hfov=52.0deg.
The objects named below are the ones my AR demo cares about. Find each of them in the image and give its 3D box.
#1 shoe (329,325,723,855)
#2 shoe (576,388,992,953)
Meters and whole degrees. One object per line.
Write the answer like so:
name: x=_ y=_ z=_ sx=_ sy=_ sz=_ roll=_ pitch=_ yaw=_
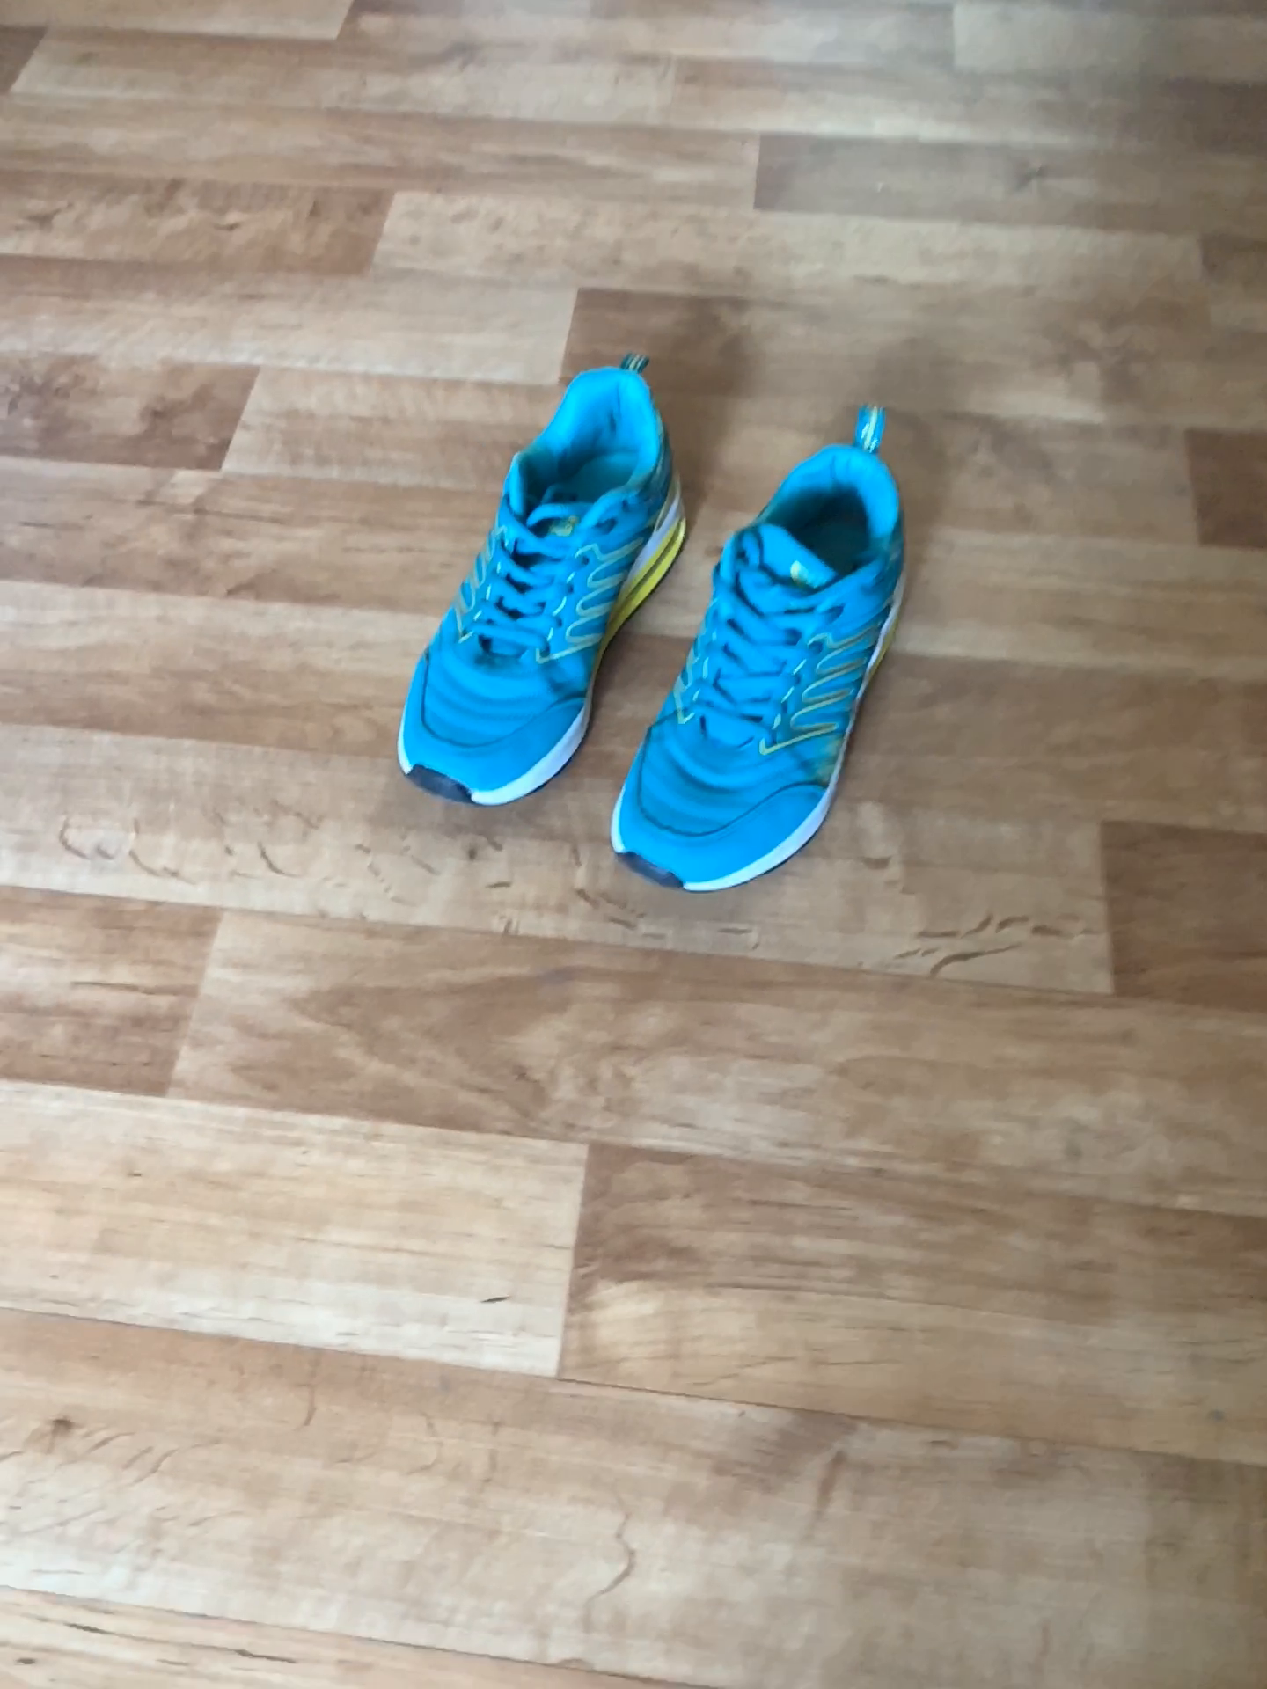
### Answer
shoe: x=-0.047 y=-0.134 z=0.672 sx=0.100 sy=0.120 sz=0.230 roll=21 pitch=62 yaw=8
shoe: x=0.075 y=-0.089 z=0.647 sx=0.100 sy=0.120 sz=0.240 roll=25 pitch=63 yaw=13
